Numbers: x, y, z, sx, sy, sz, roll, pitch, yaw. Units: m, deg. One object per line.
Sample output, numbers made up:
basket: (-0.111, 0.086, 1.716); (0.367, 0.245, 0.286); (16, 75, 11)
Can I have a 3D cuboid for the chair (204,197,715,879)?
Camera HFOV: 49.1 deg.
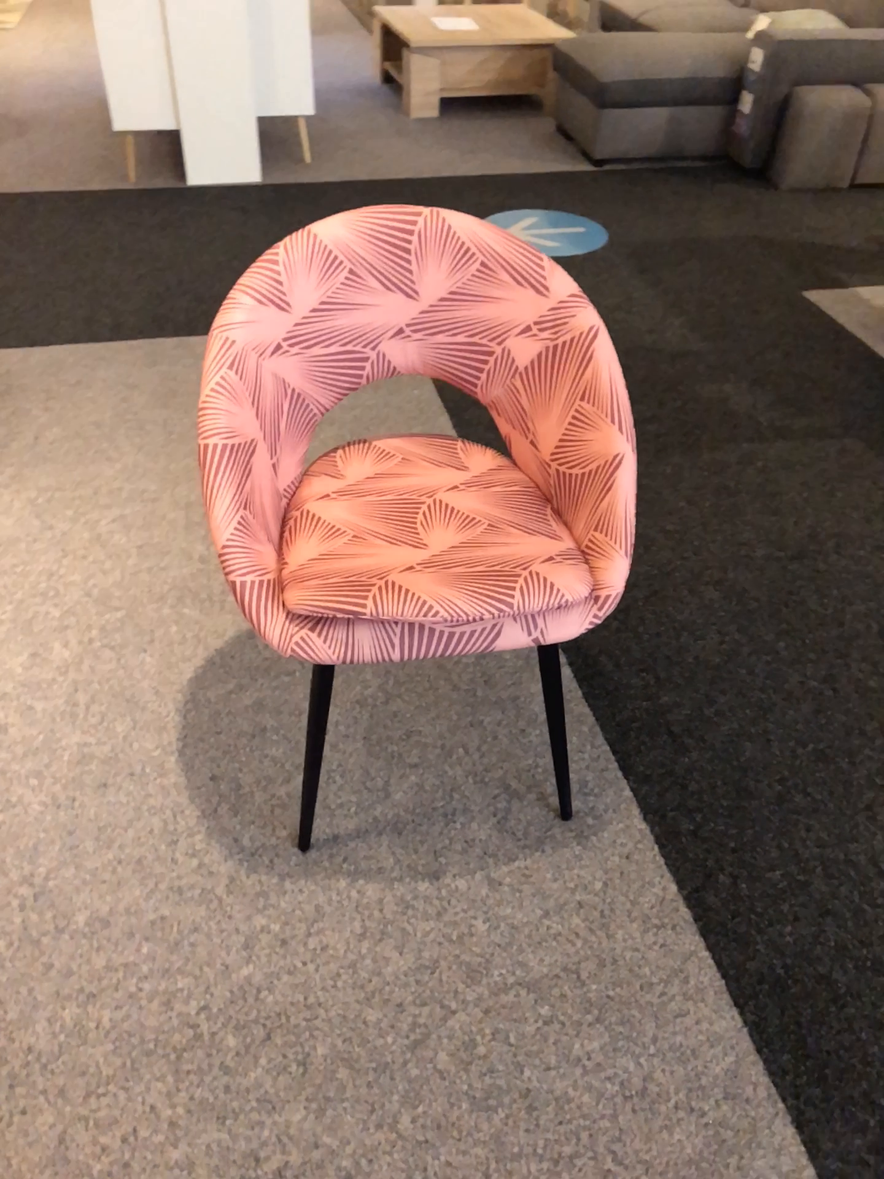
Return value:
chair: (-0.034, -0.085, 1.465); (0.531, 0.795, 0.603); (-4, 40, -9)
